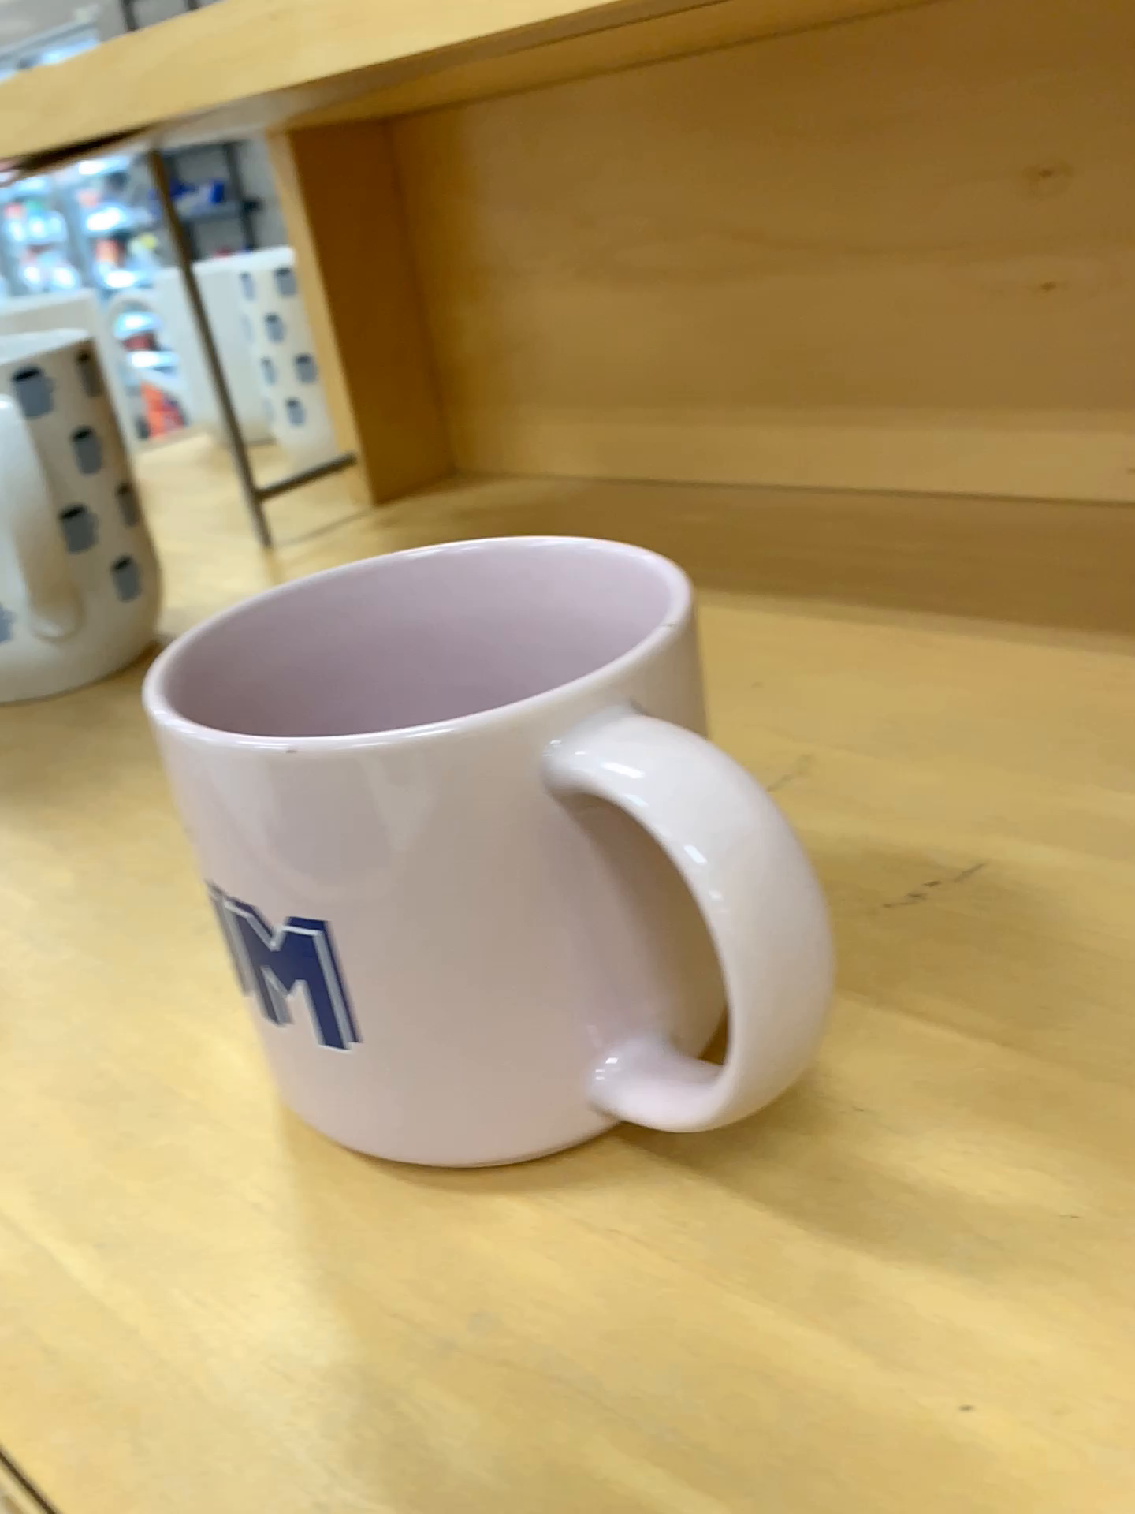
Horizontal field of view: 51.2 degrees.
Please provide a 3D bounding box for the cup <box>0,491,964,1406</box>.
[{"bbox_3d":[-0.020,0.011,0.209,0.142,0.082,0.096,16,36,41],"label":"cup"}]
